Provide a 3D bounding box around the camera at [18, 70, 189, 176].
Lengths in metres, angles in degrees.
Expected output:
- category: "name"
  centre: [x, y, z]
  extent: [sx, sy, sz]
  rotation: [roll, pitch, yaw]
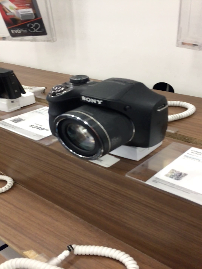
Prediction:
- category: "camera"
  centre: [0.005, -0.024, 0.318]
  extent: [0.137, 0.072, 0.114]
  rotation: [19, 36, 32]
